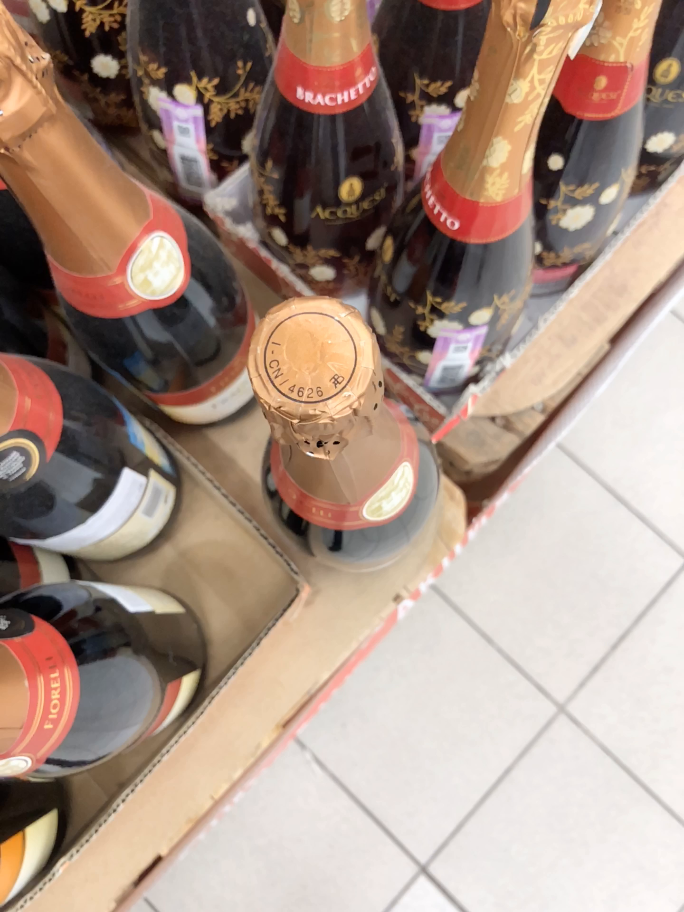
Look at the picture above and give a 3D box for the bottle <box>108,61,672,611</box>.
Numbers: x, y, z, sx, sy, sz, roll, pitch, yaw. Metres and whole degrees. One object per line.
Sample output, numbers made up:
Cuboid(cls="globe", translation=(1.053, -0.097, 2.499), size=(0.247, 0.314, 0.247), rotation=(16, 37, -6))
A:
Cuboid(cls="bottle", translation=(0.014, -0.002, 0.320), size=(0.090, 0.300, 0.090), rotation=(0, 78, 1))
